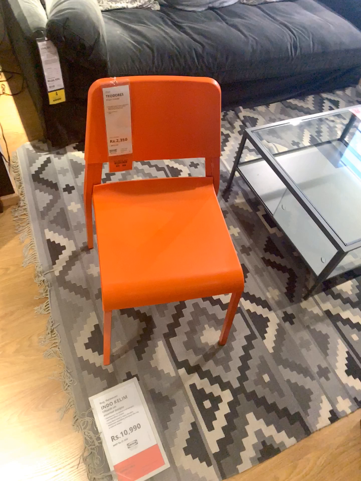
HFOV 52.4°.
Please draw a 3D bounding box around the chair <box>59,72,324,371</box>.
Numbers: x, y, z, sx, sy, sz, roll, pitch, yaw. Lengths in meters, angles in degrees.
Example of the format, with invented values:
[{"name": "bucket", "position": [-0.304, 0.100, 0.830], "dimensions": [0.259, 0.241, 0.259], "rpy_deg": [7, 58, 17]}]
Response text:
[{"name": "chair", "position": [-0.051, -0.030, 1.175], "dimensions": [0.520, 0.728, 0.581], "rpy_deg": [-7, 55, -13]}]
